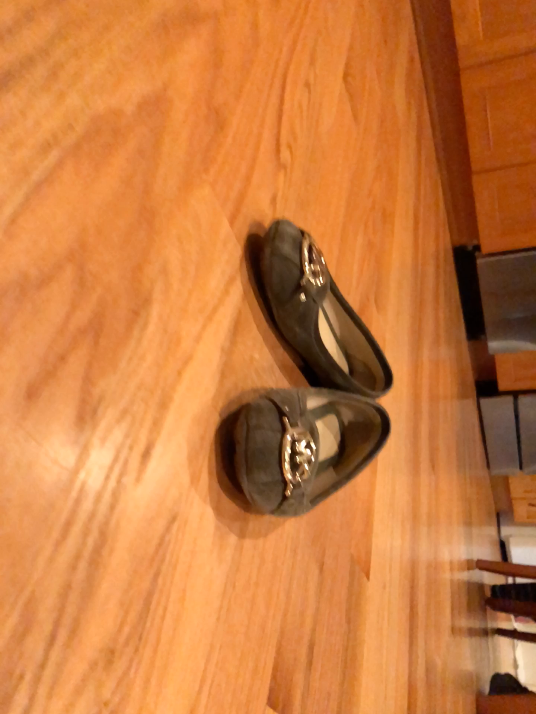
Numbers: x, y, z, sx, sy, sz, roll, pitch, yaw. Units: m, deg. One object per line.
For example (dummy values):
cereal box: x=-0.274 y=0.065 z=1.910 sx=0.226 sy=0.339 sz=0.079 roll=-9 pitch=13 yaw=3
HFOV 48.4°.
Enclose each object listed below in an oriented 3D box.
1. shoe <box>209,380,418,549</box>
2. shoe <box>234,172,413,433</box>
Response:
shoe: x=0.051 y=0.067 z=0.450 sx=0.243 sy=0.079 sz=0.091 roll=6 pitch=79 yaw=-67
shoe: x=0.063 y=-0.028 z=0.512 sx=0.240 sy=0.079 sz=0.091 roll=55 pitch=36 yaw=-50
